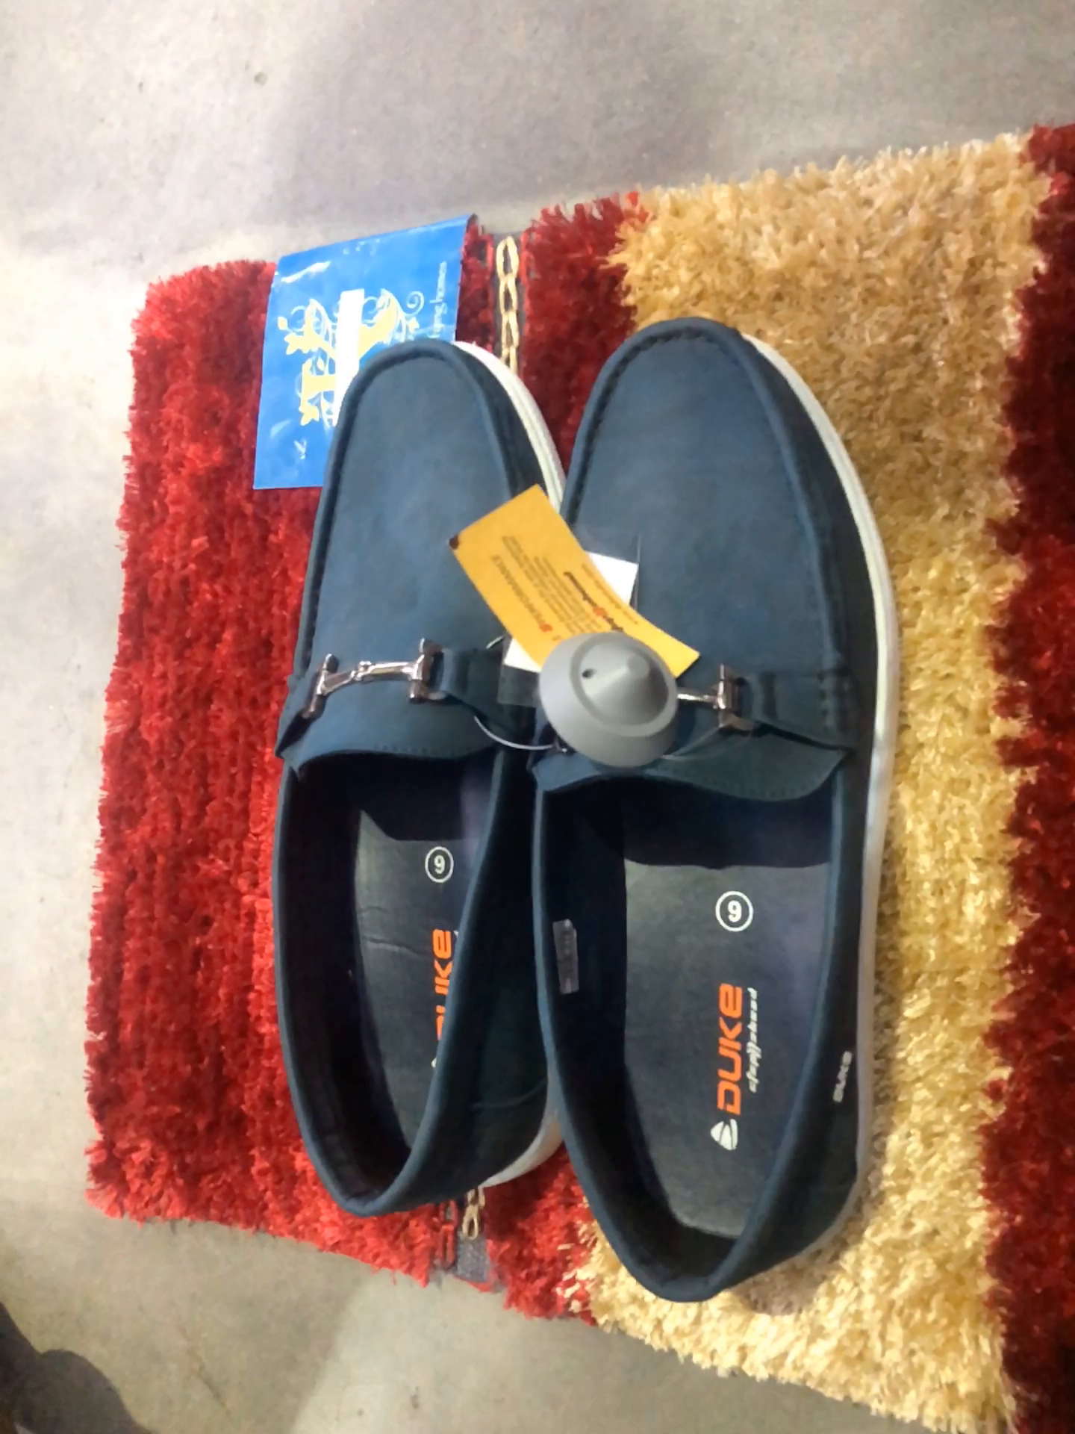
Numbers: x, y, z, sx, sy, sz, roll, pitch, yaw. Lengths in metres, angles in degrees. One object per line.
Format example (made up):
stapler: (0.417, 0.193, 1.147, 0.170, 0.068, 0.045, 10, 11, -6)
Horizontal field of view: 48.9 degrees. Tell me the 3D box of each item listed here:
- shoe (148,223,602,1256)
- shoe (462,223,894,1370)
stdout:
shoe: (-0.048, 0.006, 0.384, 0.110, 0.090, 0.280, -2, 84, 25)
shoe: (0.046, 0.018, 0.351, 0.100, 0.090, 0.280, -1, 85, 25)
